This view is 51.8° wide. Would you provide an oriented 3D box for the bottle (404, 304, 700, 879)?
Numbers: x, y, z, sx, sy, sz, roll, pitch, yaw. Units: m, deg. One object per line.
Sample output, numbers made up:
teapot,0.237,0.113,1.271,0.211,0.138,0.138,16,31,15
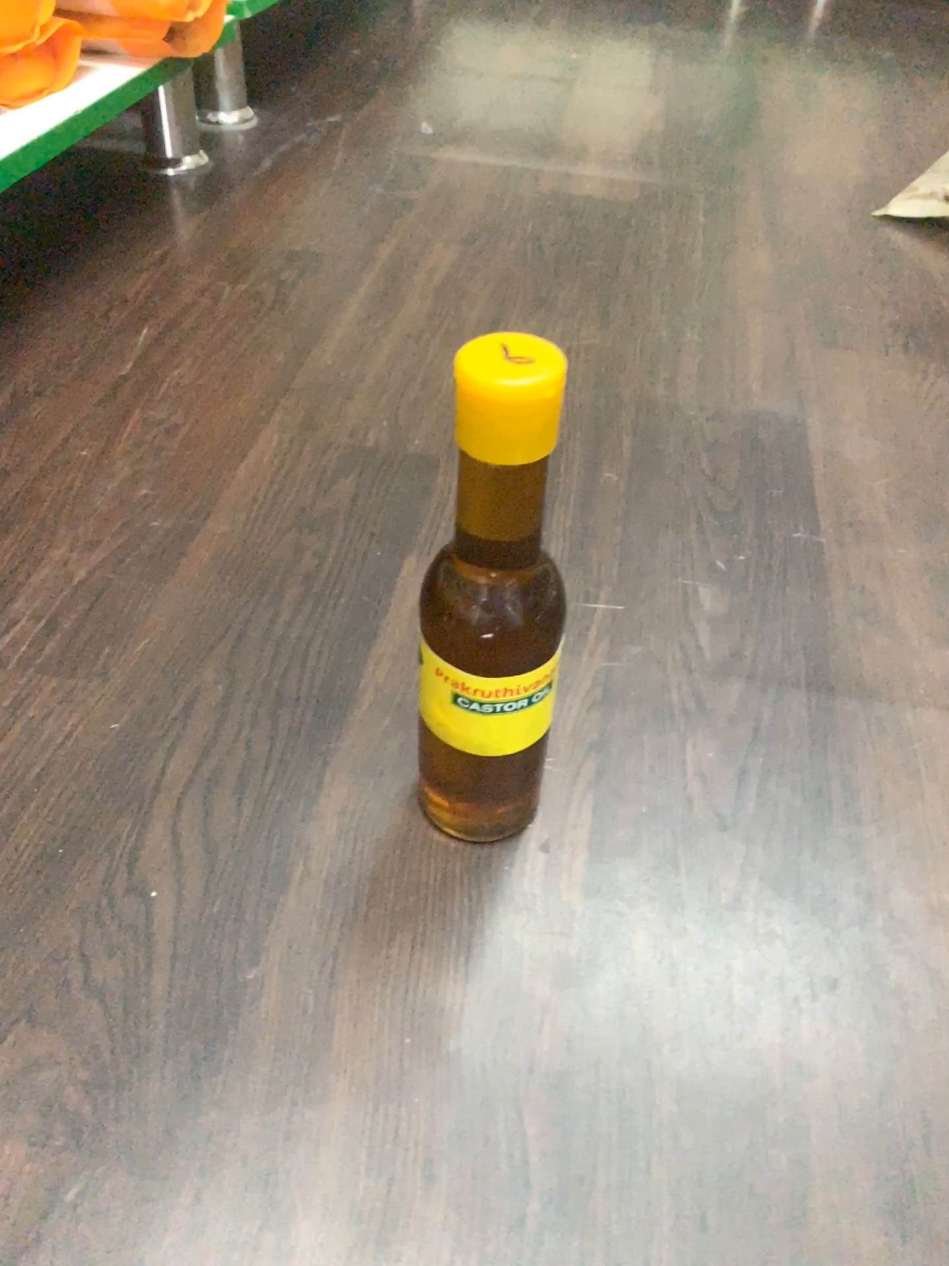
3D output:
bottle,0.013,-0.004,0.295,0.060,0.169,0.060,2,42,-2
